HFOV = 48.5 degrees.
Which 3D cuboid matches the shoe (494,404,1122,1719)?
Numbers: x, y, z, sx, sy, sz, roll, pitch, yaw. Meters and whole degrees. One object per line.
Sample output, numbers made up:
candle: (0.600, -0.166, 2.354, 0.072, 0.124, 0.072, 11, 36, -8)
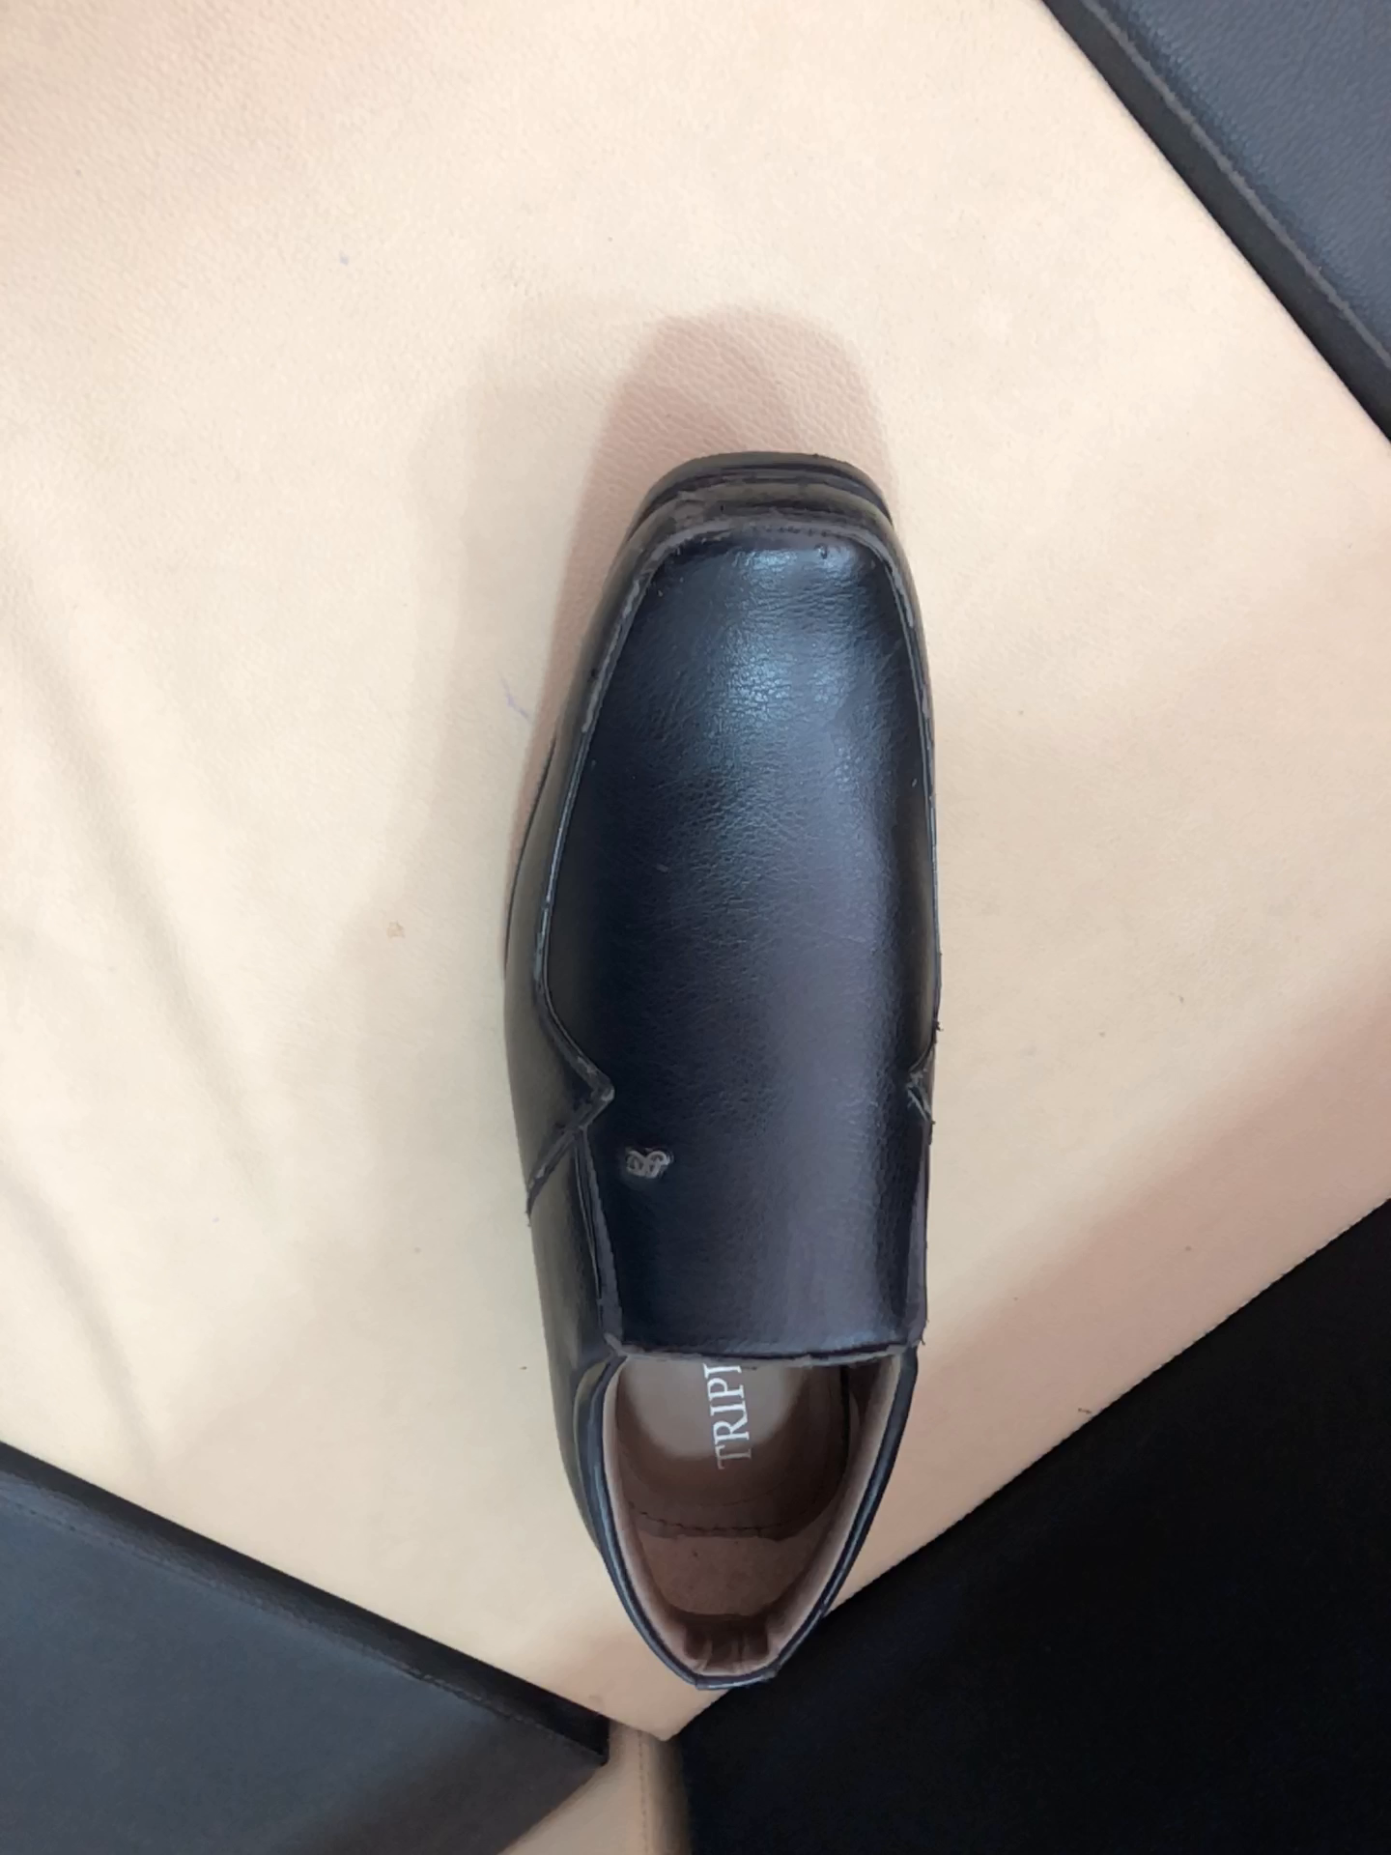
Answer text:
shoe: (0.007, 0.046, 0.356, 0.100, 0.090, 0.301, 0, 120, -6)
